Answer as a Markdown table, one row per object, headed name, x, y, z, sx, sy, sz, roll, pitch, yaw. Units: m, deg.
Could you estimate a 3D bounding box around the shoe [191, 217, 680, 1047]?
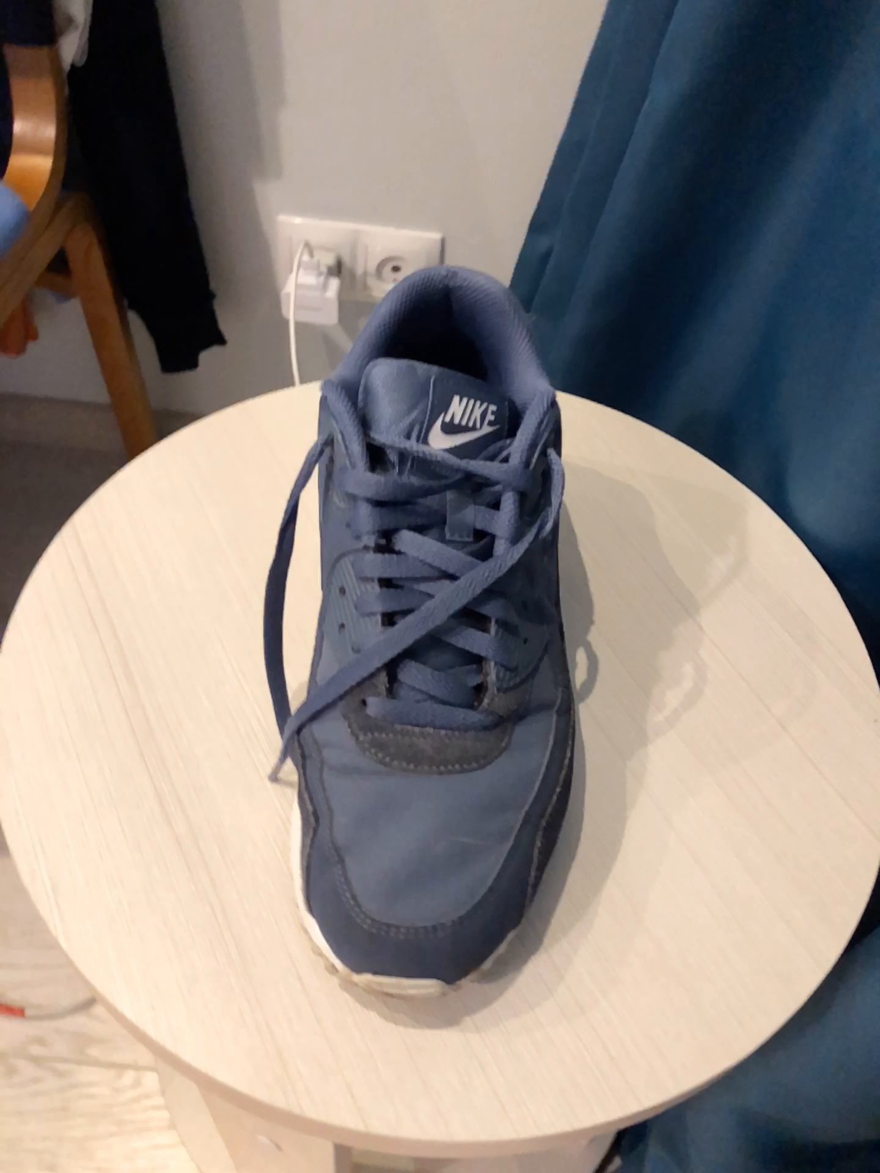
| name | x | y | z | sx | sy | sz | roll | pitch | yaw |
| --- | --- | --- | --- | --- | --- | --- | --- | --- | --- |
| shoe | 0.001 | -0.003 | 0.349 | 0.110 | 0.109 | 0.282 | 5 | 50 | -2 |
